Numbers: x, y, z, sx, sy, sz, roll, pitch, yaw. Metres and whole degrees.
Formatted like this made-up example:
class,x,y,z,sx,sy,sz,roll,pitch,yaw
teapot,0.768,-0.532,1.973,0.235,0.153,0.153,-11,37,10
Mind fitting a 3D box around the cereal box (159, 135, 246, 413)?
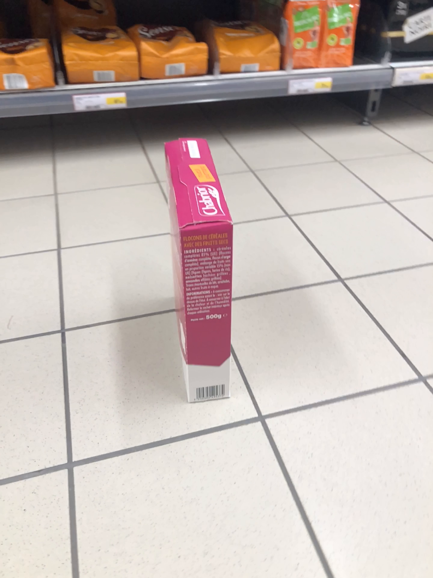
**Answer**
class,x,y,z,sx,sy,sz,roll,pitch,yaw
cereal box,-0.022,-0.022,0.537,0.060,0.229,0.211,-5,37,-7
